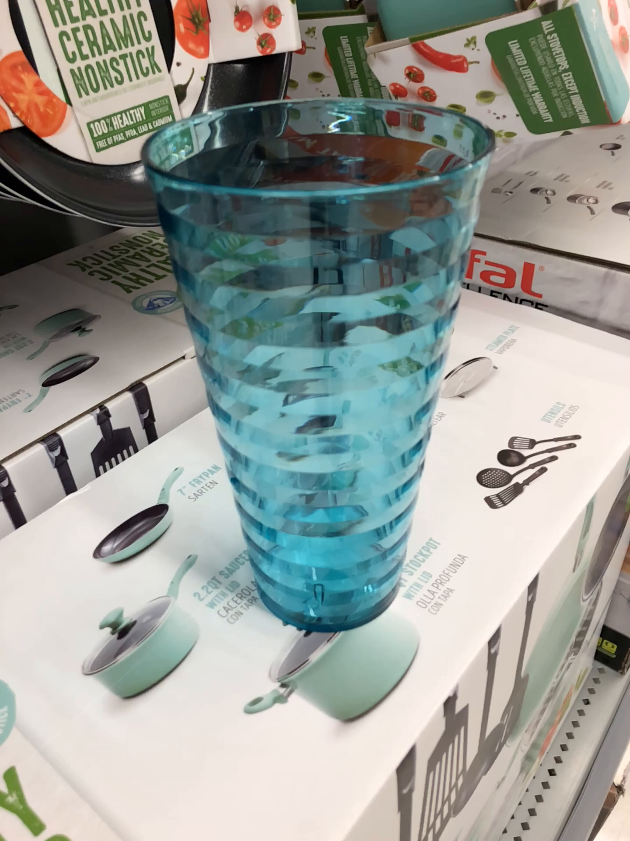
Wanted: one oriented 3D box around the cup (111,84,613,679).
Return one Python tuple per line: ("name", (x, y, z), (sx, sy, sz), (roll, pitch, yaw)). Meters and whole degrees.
("cup", (0.004, -0.016, 0.233), (0.104, 0.151, 0.104), (0, 37, 0))
